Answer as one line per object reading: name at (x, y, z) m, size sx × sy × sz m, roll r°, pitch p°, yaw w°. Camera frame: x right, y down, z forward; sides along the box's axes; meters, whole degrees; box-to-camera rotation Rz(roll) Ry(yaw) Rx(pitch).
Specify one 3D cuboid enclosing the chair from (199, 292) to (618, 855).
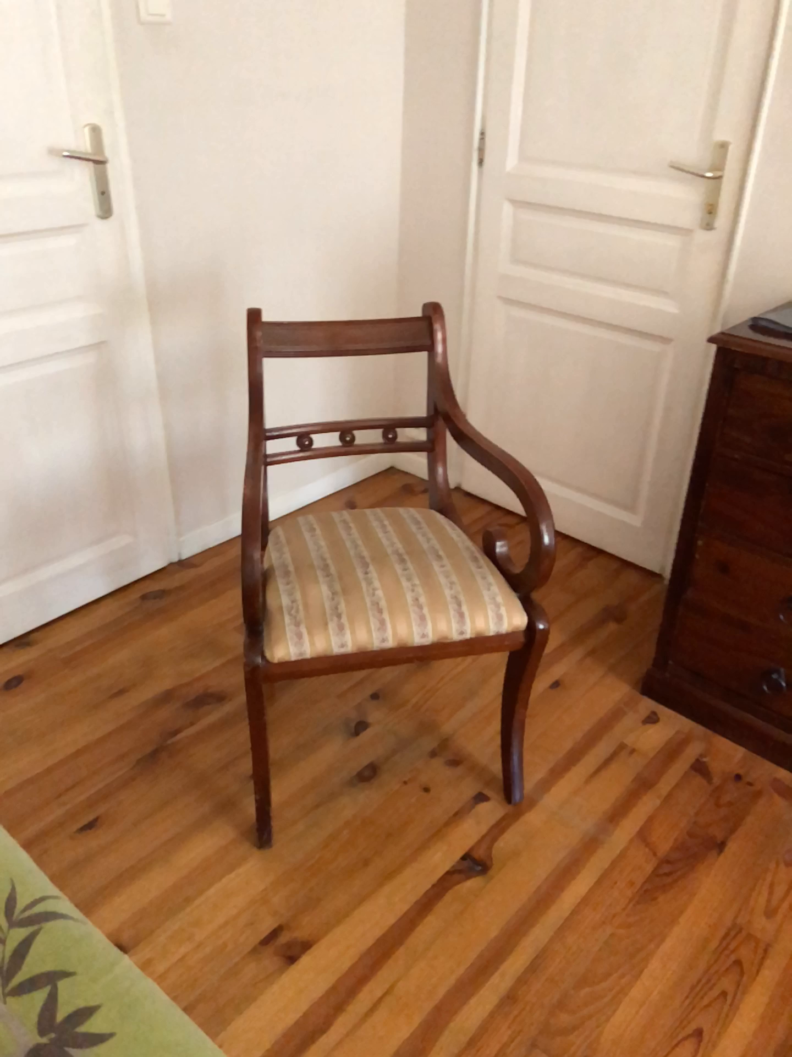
chair at (-0.035, 0.050, 1.616) m, size 0.581 × 0.825 × 0.573 m, roll -5°, pitch 29°, yaw -11°
